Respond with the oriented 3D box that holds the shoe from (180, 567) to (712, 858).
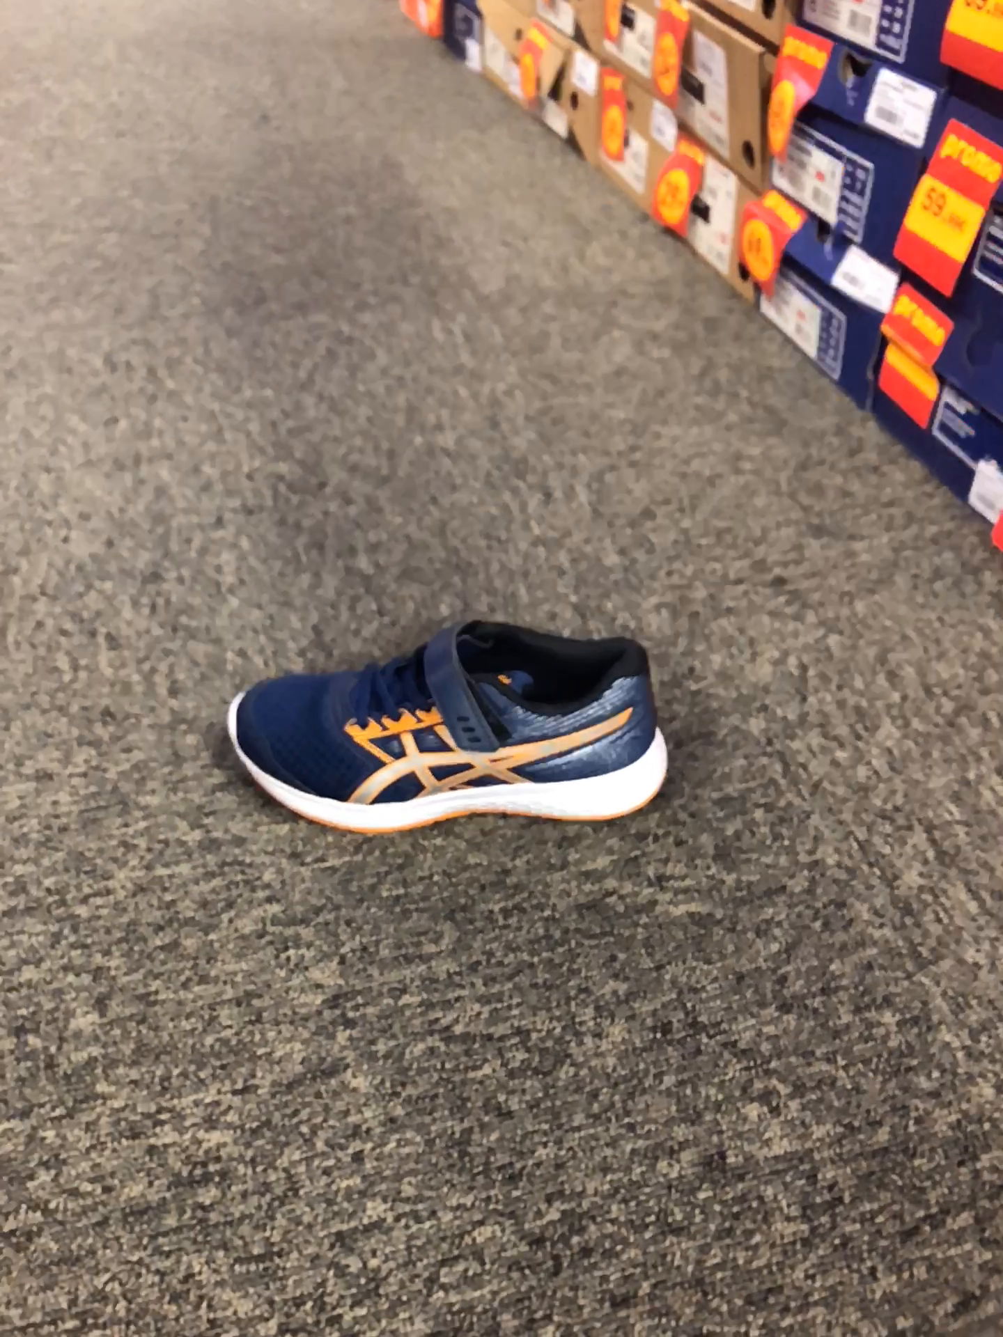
[{"bbox_3d":[-0.023,0.021,0.557,0.235,0.099,0.091,3,41,2],"label":"shoe"}]
